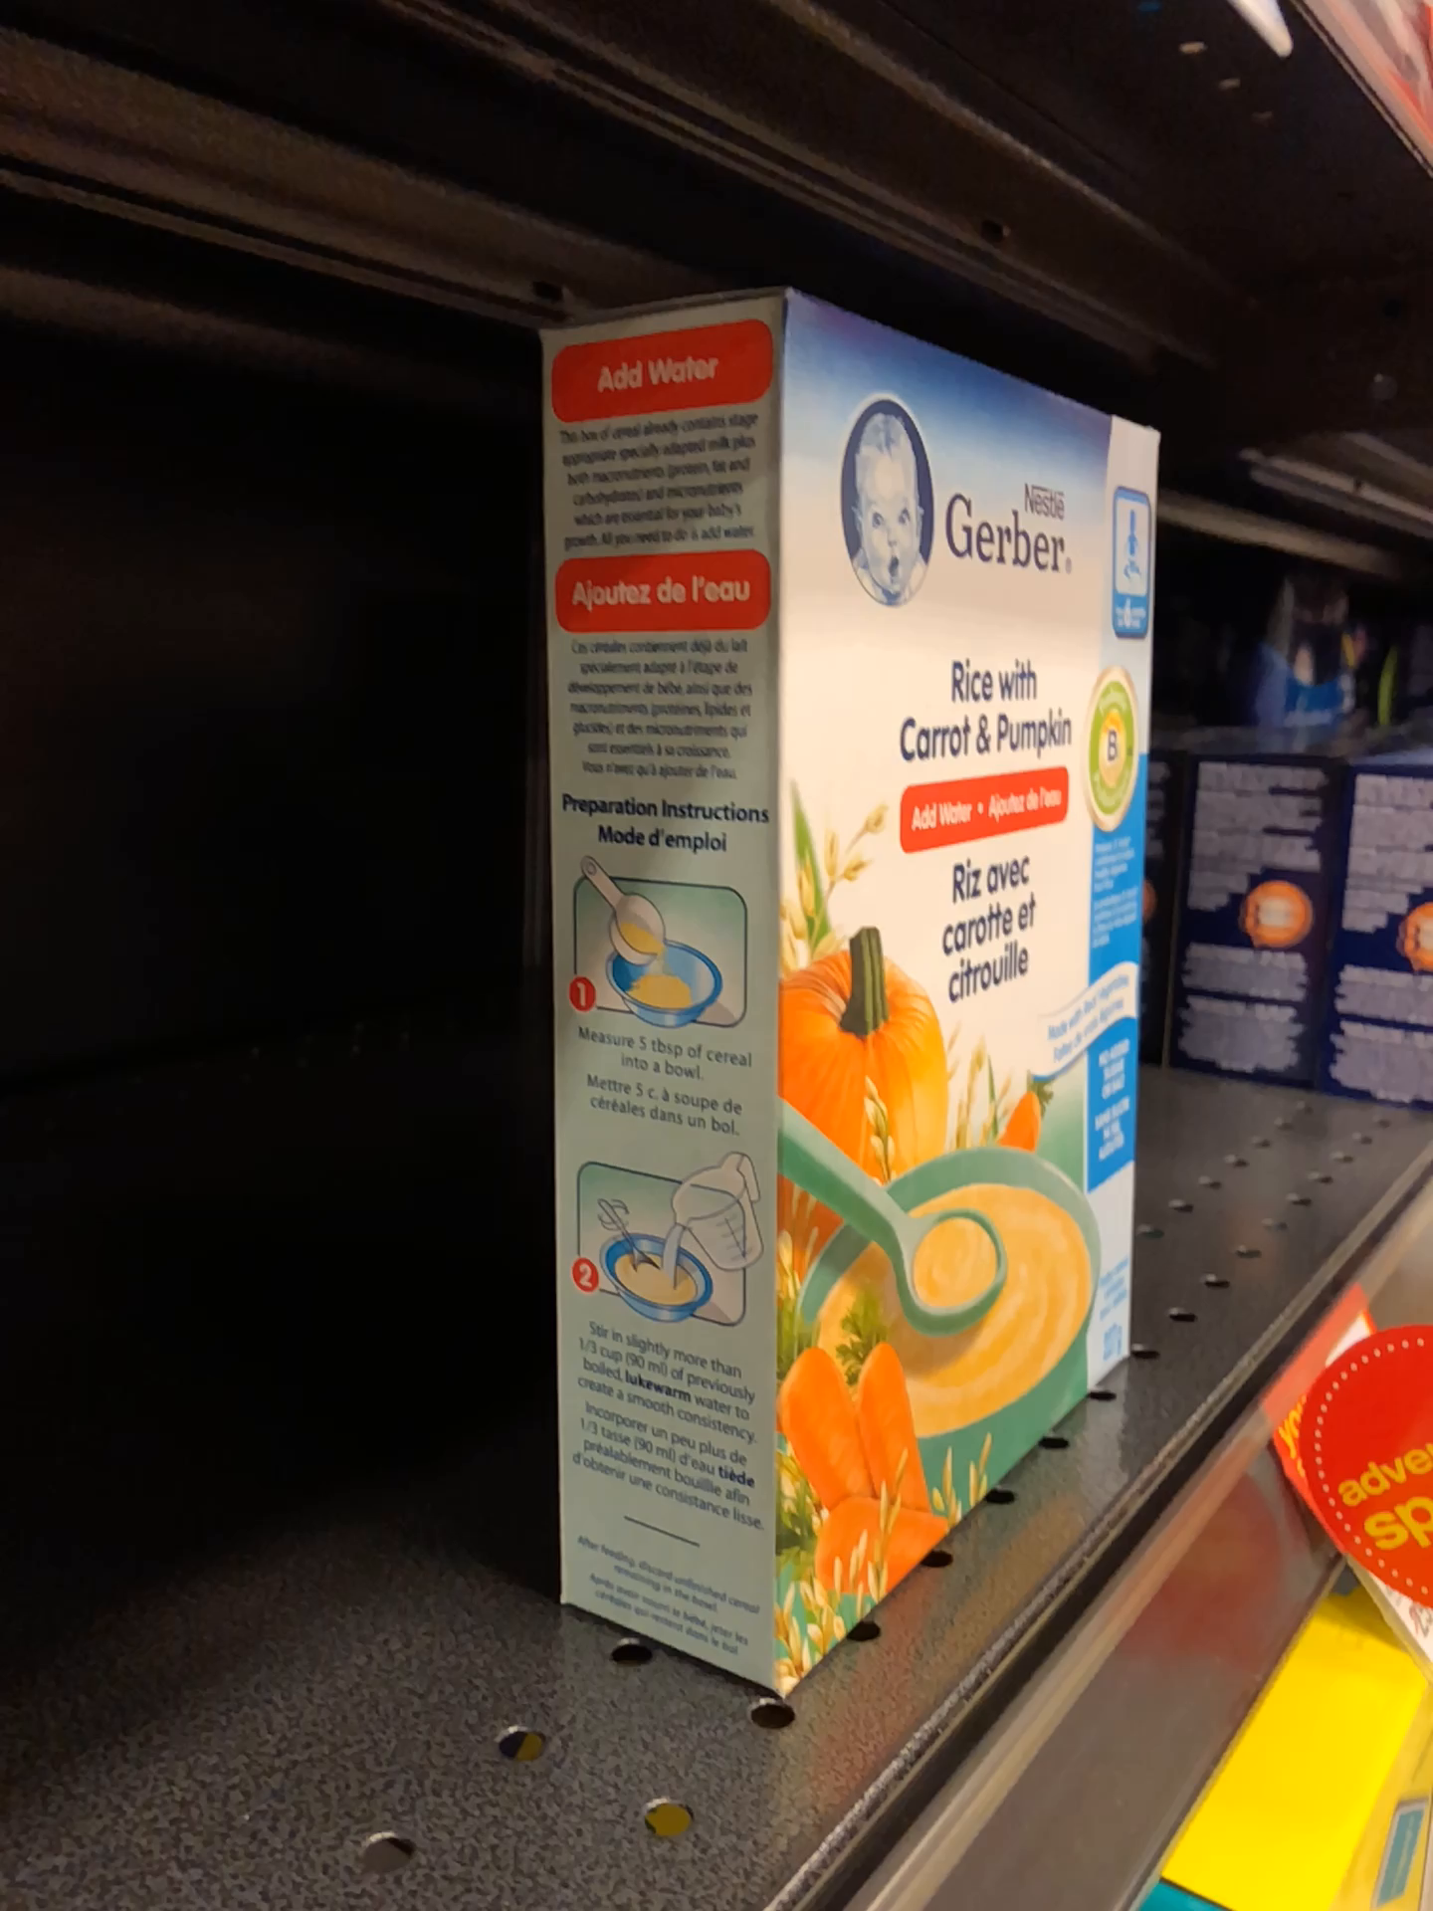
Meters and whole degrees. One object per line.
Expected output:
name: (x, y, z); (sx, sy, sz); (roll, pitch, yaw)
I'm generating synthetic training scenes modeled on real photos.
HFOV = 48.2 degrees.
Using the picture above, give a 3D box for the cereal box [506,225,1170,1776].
cereal box: (0.031, 0.001, 0.275); (0.040, 0.200, 0.150); (6, 11, 32)
